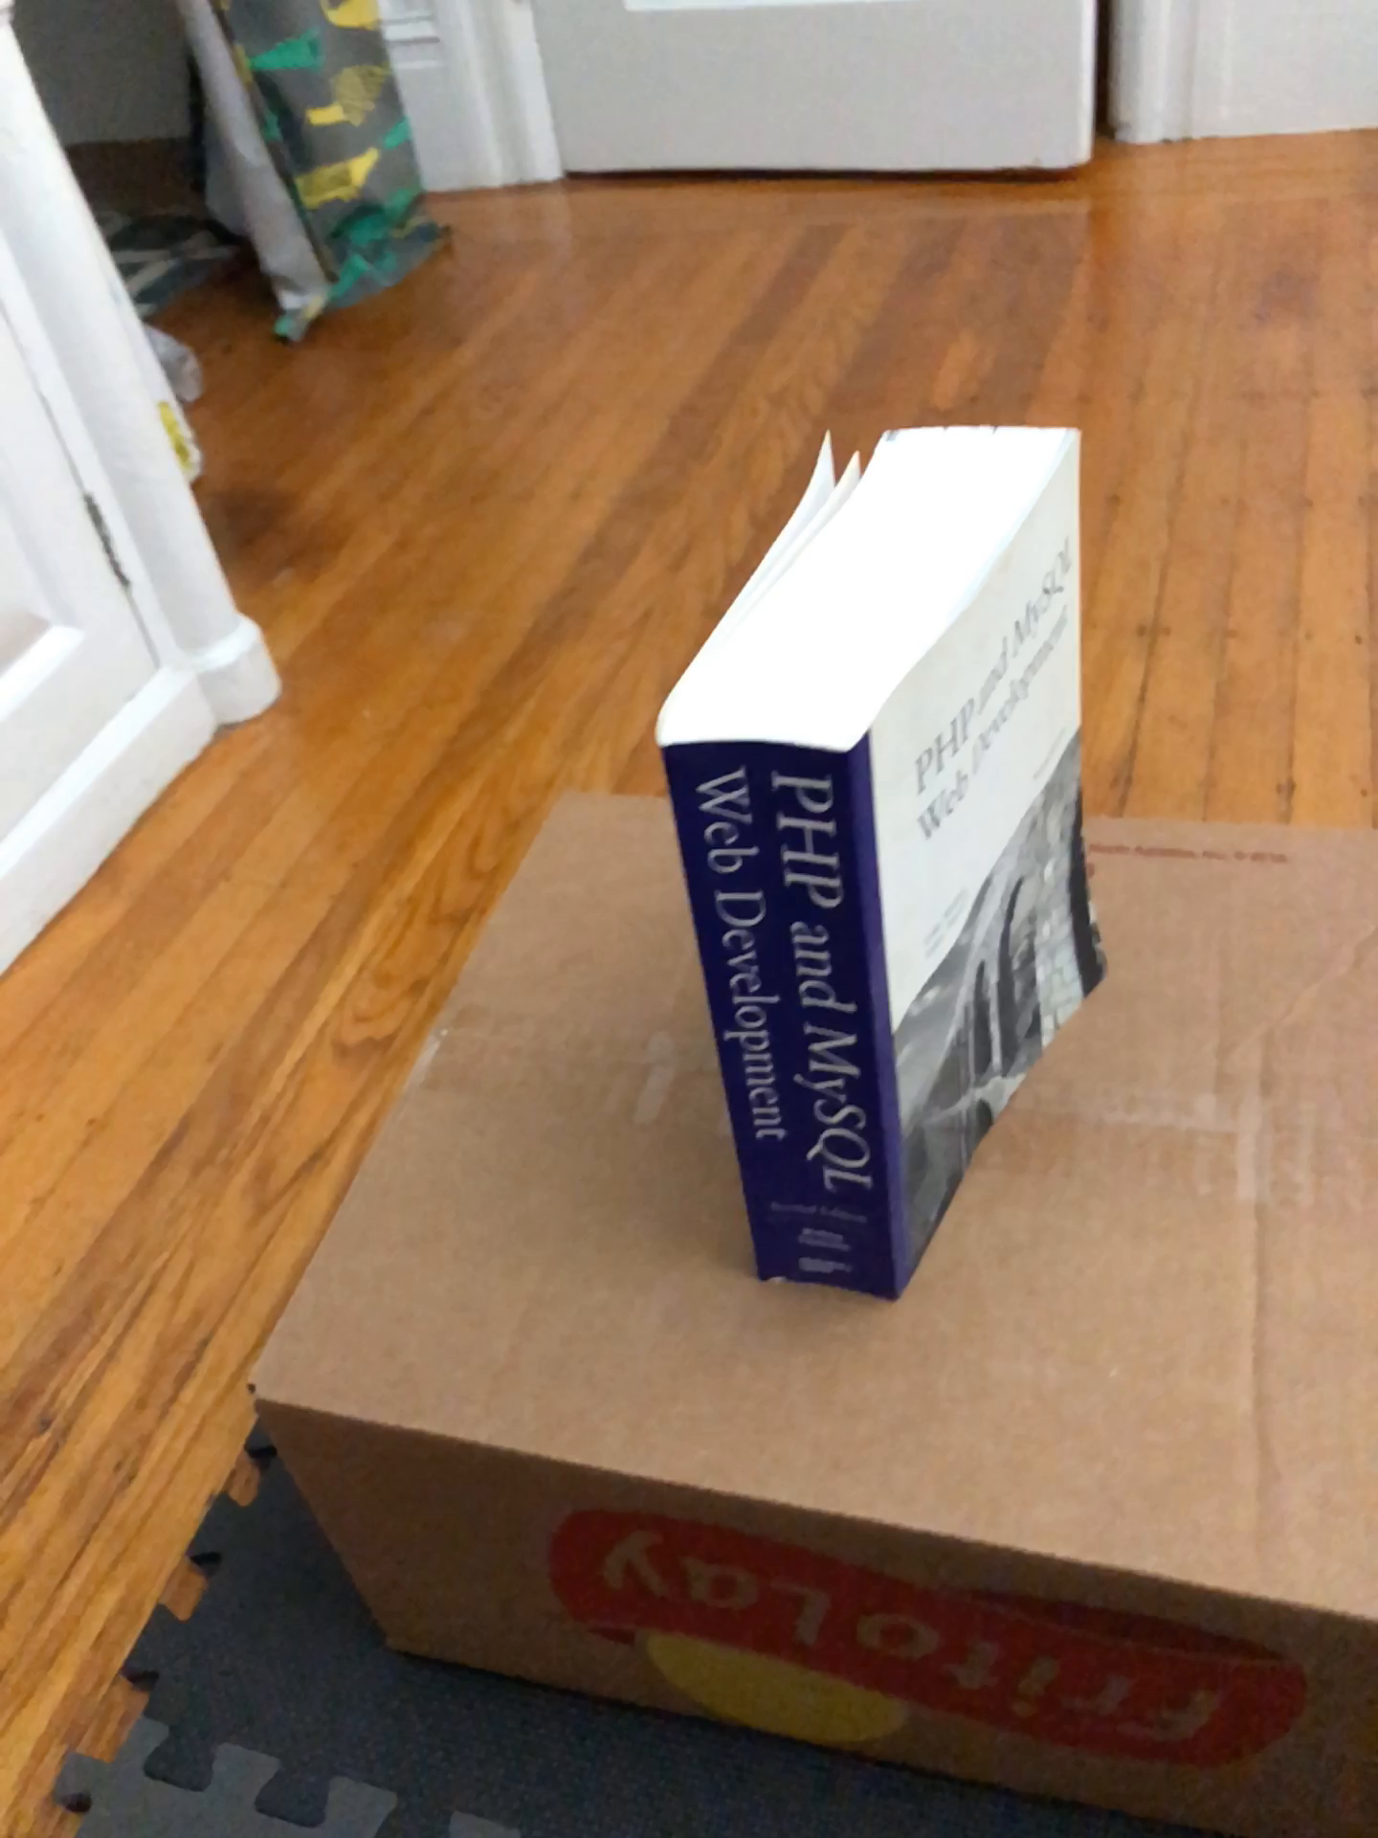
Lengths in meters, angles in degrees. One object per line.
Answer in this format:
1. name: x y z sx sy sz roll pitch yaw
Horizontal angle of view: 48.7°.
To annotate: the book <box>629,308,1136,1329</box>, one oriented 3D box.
1. book: 0.077 -0.033 0.503 0.090 0.258 0.201 9 44 19
